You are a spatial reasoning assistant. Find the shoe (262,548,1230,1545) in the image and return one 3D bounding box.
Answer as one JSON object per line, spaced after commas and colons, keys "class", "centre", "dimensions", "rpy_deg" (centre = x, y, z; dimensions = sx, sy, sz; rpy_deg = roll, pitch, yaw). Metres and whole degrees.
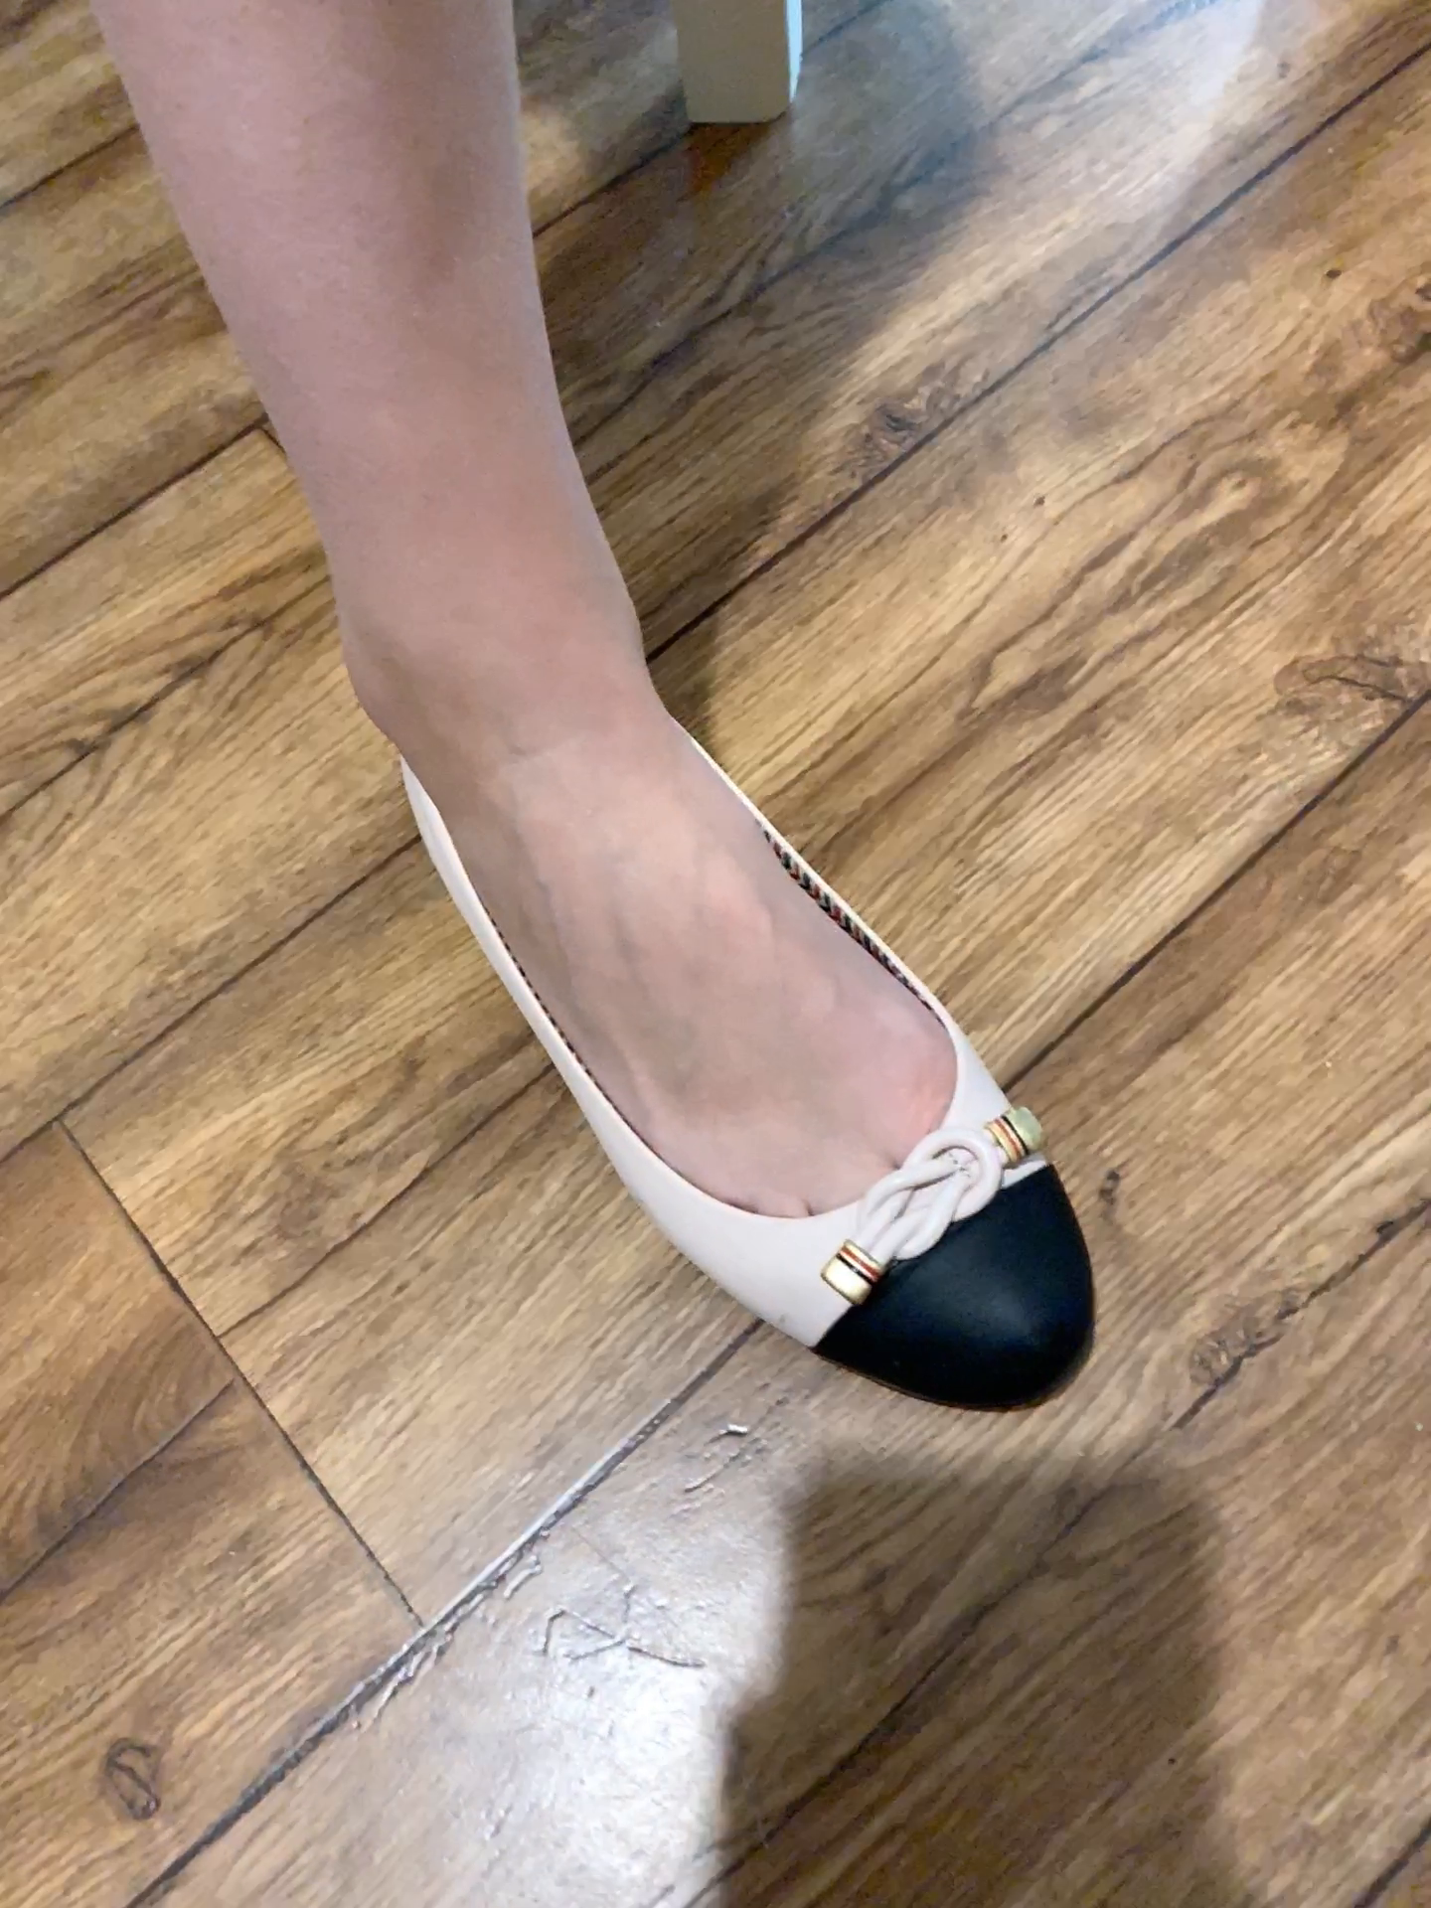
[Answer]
{"class": "shoe", "centre": [-0.002, 0.013, 0.335], "dimensions": [0.083, 0.059, 0.220], "rpy_deg": [-38, 66, -12]}
